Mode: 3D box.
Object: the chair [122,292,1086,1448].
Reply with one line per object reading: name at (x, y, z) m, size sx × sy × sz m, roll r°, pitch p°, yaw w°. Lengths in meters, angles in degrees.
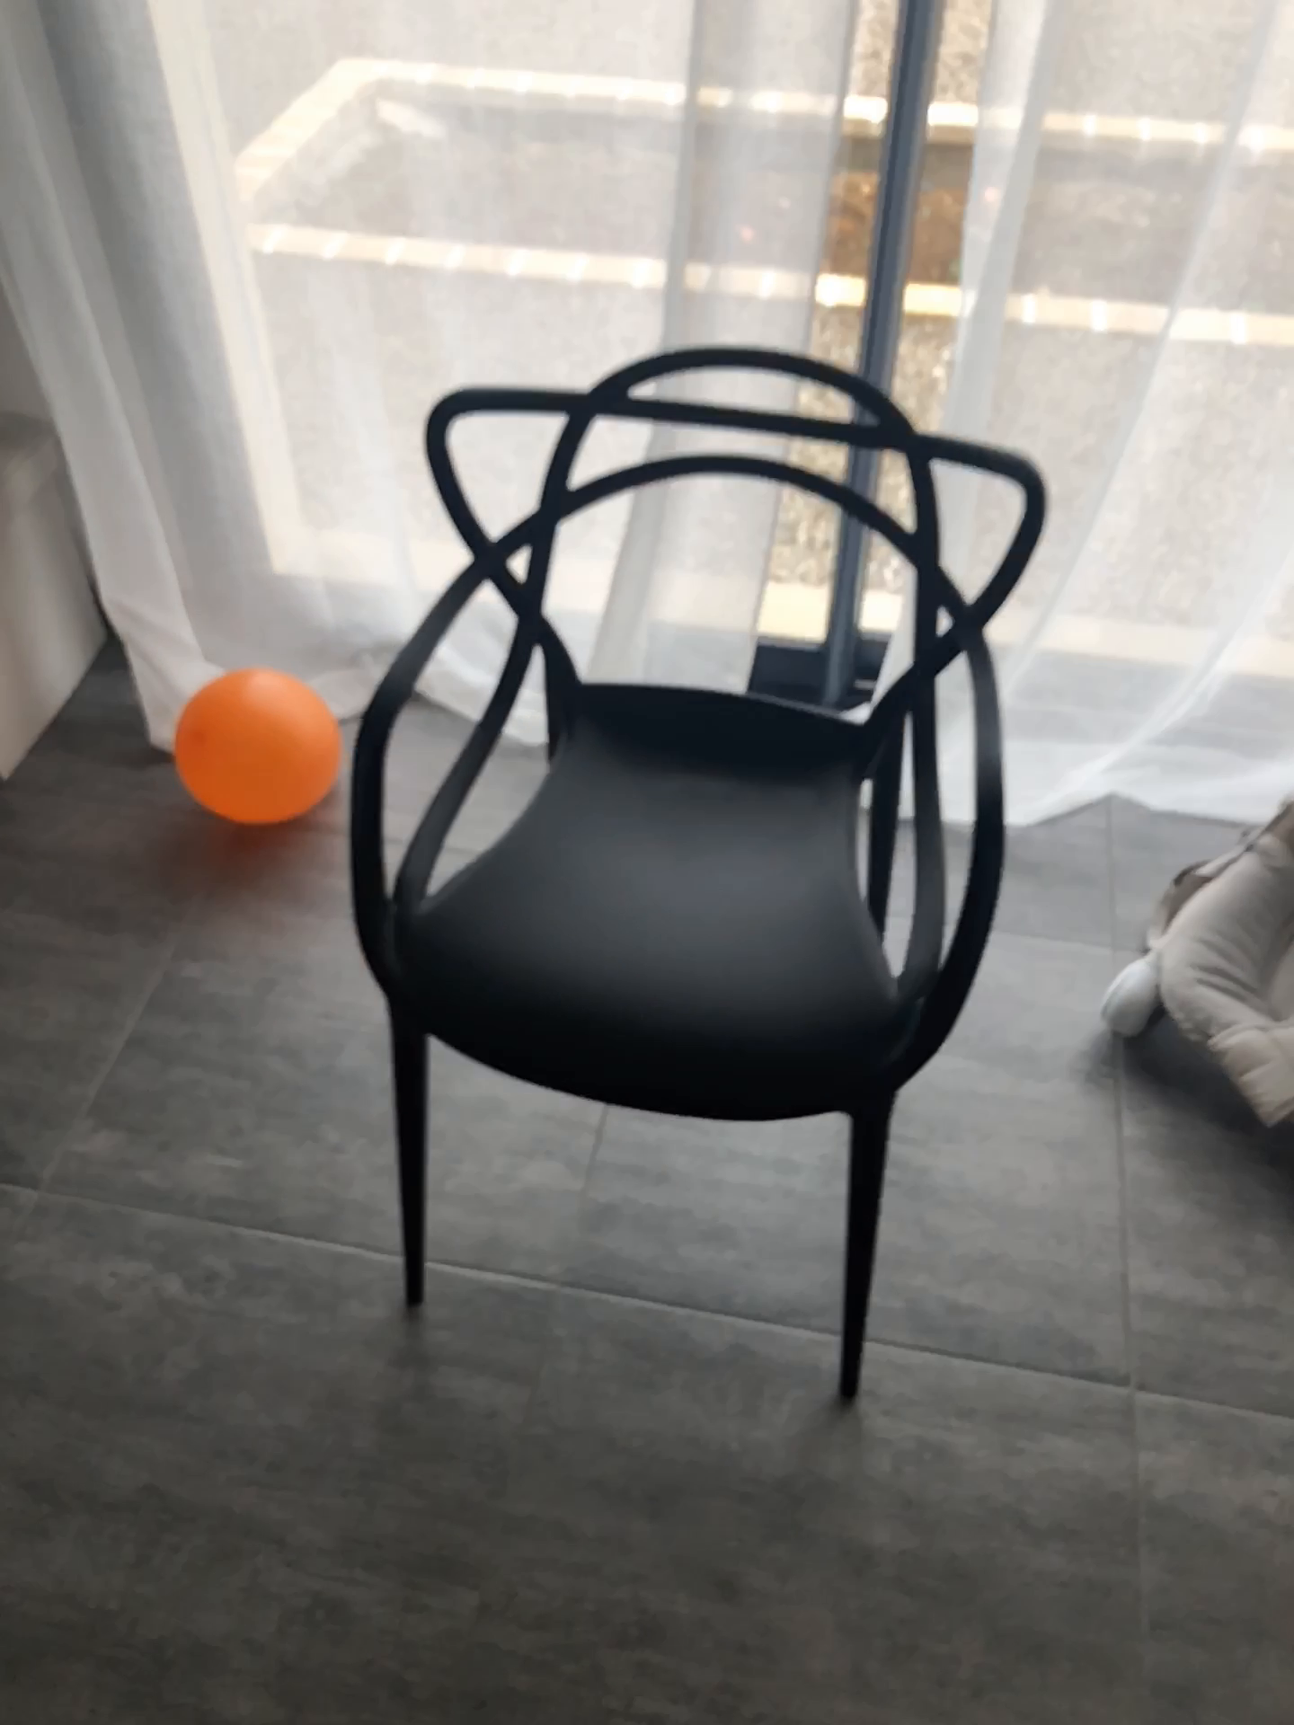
chair at (0.020, 0.025, 1.309) m, size 0.562 × 0.795 × 0.589 m, roll 10°, pitch 47°, yaw 9°
